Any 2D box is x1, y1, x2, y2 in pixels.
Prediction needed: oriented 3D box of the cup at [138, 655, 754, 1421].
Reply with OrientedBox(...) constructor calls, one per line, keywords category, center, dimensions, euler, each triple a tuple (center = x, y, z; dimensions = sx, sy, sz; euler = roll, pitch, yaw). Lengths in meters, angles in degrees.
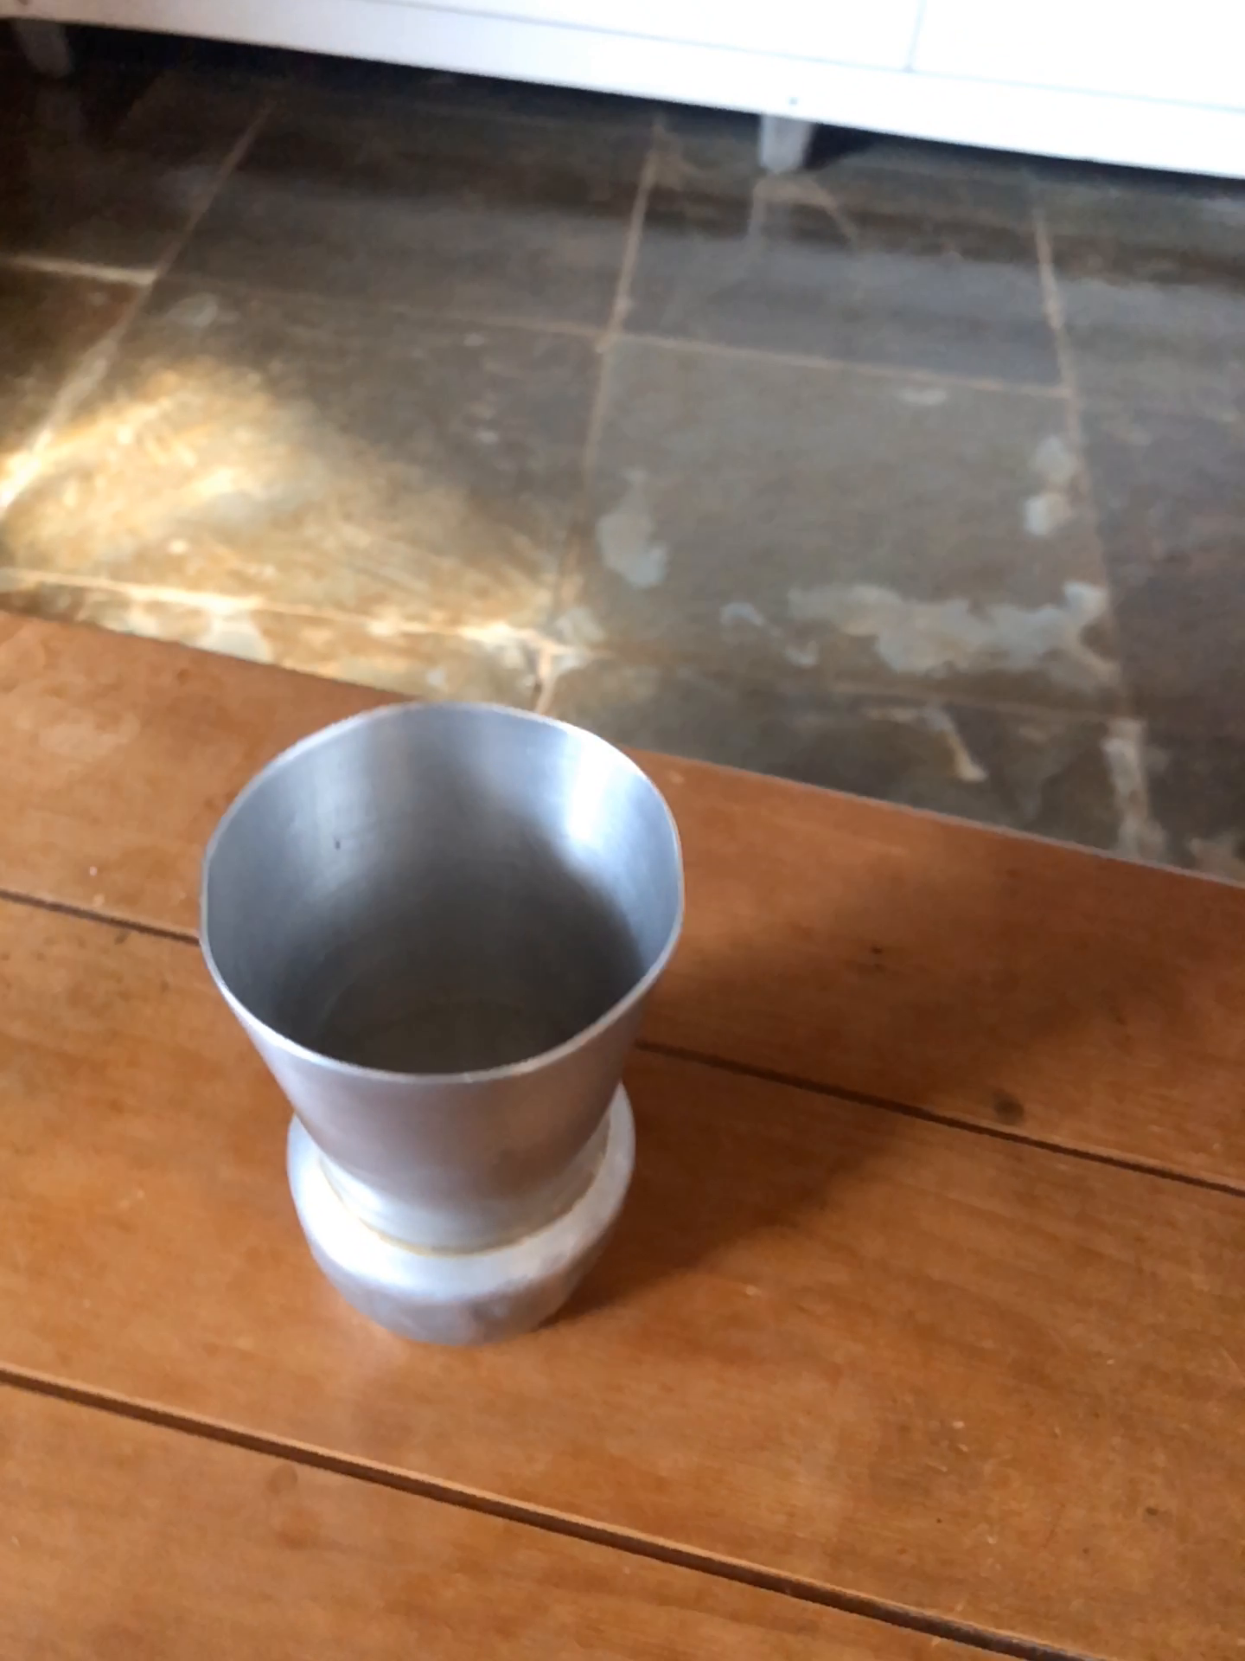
OrientedBox(category="cup", center=(-0.024, 0.040, 0.237), dimensions=(0.070, 0.109, 0.071), euler=(3, 50, -3))
